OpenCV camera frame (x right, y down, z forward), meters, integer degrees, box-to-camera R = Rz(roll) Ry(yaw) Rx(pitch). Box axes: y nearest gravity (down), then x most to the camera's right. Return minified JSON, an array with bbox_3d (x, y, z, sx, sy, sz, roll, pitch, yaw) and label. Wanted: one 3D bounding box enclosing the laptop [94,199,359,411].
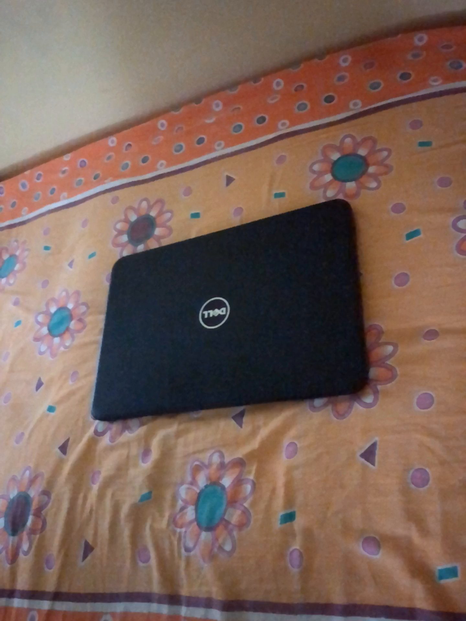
[{"bbox_3d":[-0.028,-0.003,0.669,0.359,0.001,0.236,-12,62,24],"label":"laptop"}]
